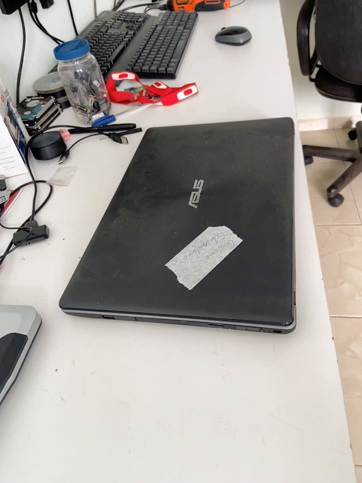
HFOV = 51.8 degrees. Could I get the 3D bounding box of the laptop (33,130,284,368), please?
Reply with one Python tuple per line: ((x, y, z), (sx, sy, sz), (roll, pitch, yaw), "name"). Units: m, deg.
((0.003, -0.036, 0.487), (0.250, 0.007, 0.387), (1, 46, 16), "laptop")
